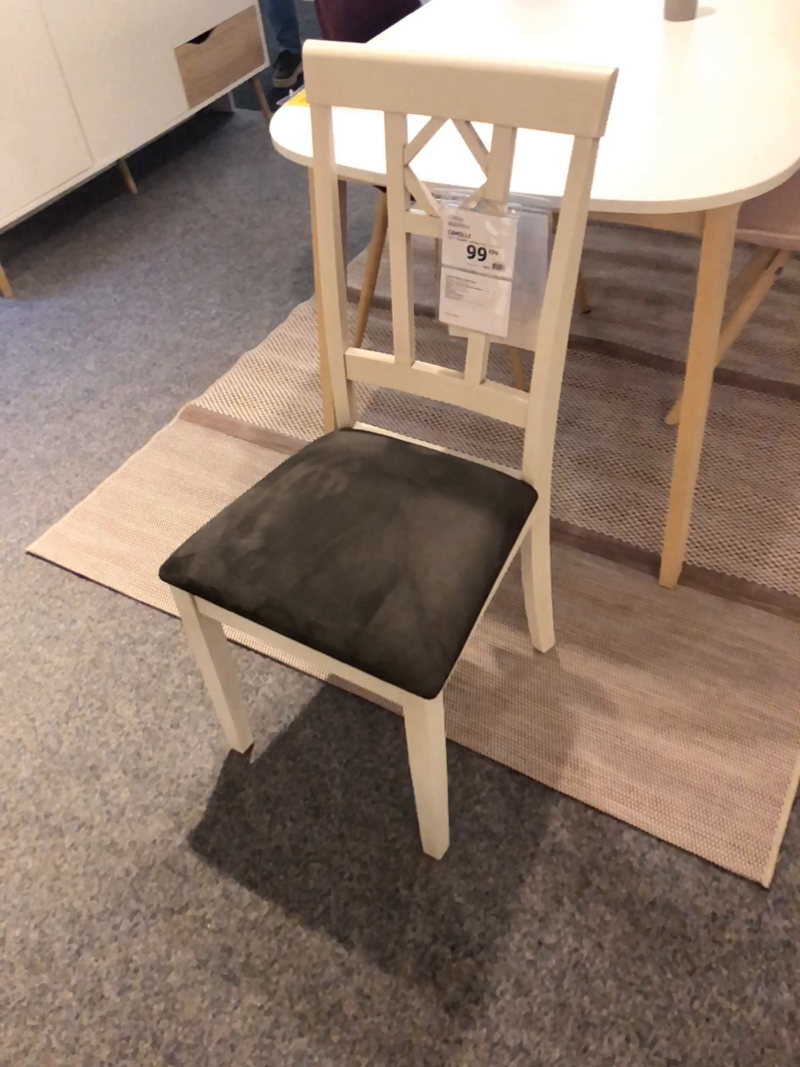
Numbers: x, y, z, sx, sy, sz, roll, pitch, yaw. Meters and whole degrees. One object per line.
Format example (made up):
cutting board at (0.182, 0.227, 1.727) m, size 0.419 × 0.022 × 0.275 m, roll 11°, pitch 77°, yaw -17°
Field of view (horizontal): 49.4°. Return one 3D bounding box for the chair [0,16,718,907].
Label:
chair at (-0.009, -0.076, 1.099) m, size 0.510 × 0.855 × 0.563 m, roll 20°, pitch 51°, yaw 26°
